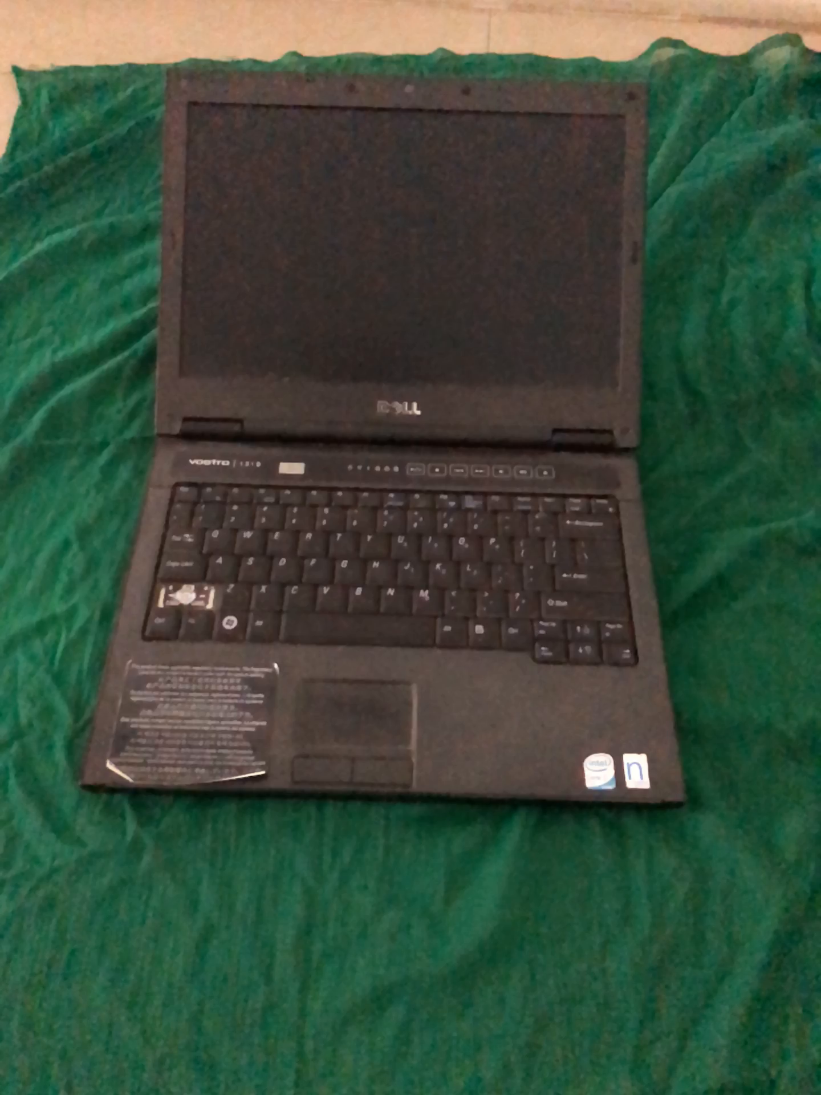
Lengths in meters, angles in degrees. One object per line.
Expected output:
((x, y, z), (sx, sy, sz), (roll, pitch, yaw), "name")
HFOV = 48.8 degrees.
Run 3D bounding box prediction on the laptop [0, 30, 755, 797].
((-0.007, -0.100, 0.526), (0.313, 0.126, 0.440), (1, 61, 2), "laptop")
